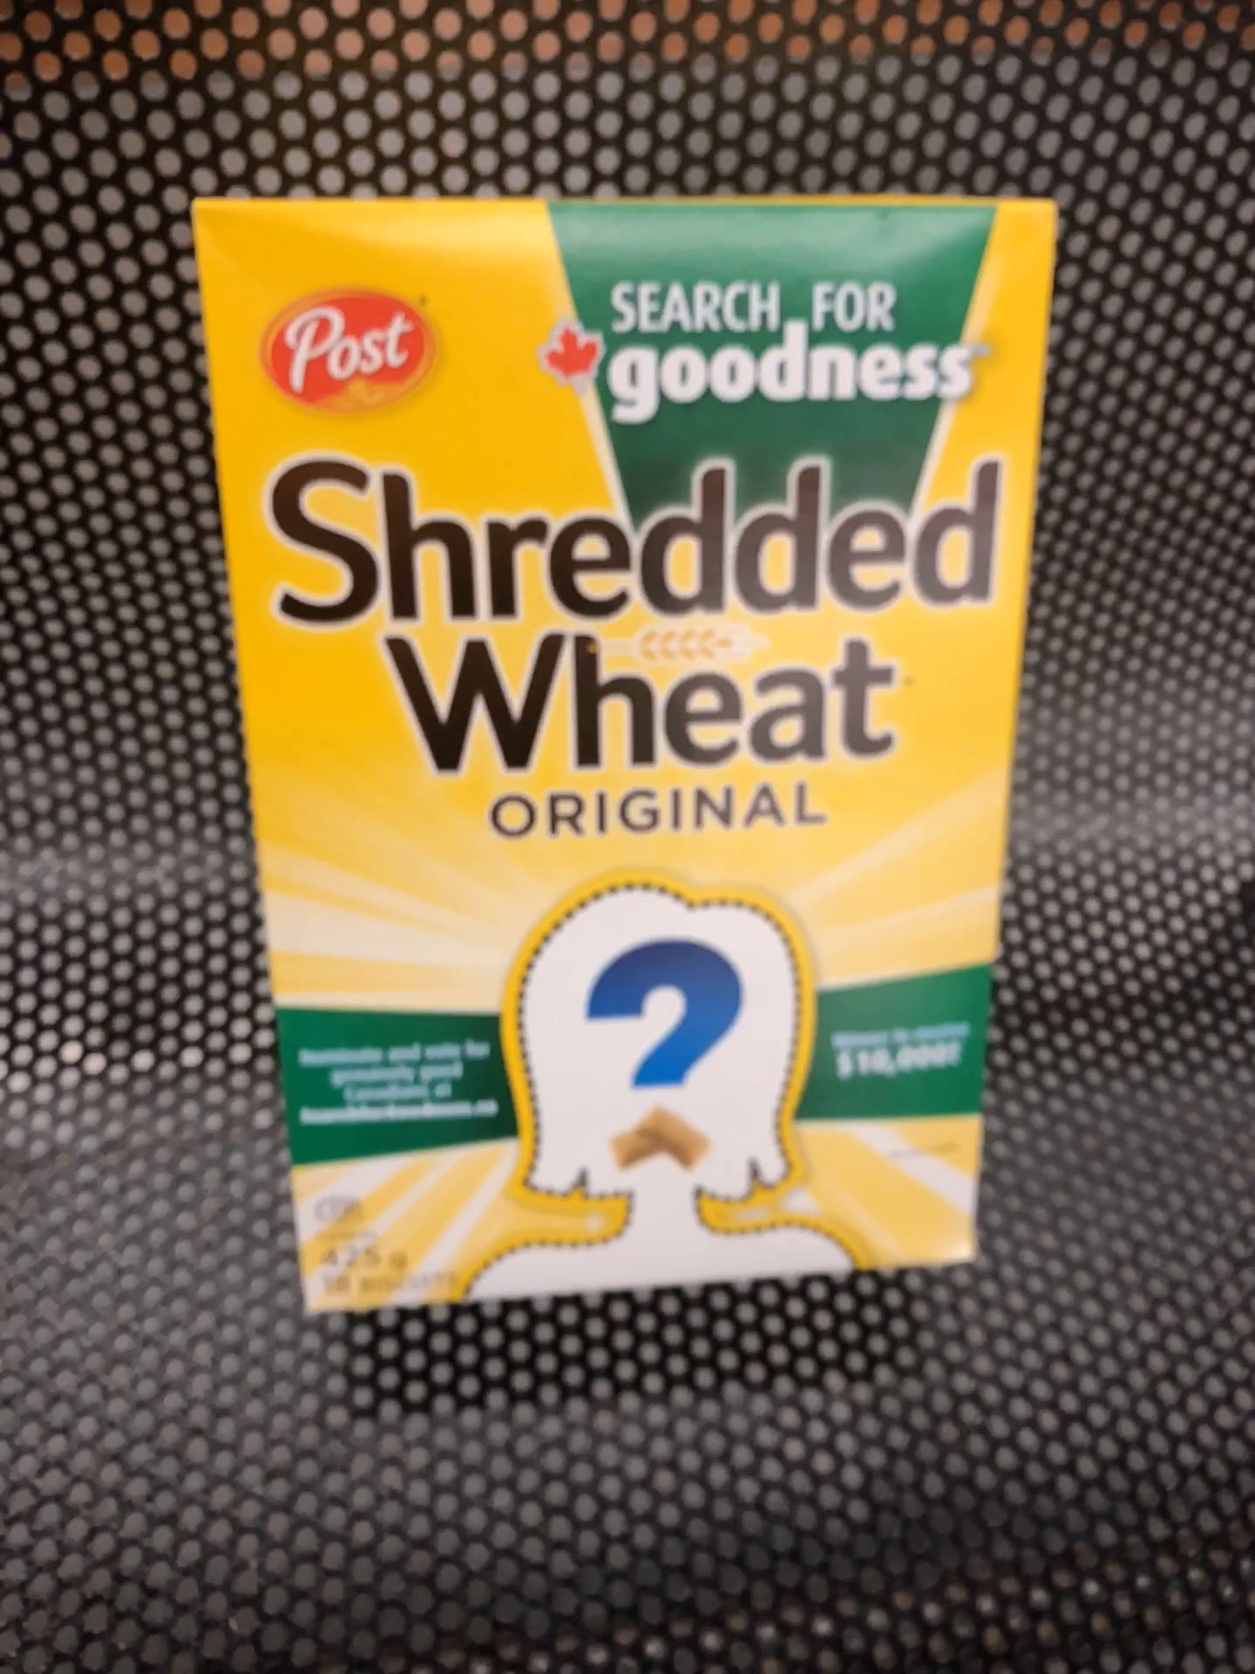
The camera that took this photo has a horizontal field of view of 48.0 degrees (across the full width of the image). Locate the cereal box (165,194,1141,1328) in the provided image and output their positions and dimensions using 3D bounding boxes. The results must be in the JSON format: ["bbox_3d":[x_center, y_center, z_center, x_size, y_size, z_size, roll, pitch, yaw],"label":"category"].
[{"bbox_3d":[0.006,-0.020,0.389,0.210,0.279,0.090,-3,20,-6],"label":"cereal box"}]
